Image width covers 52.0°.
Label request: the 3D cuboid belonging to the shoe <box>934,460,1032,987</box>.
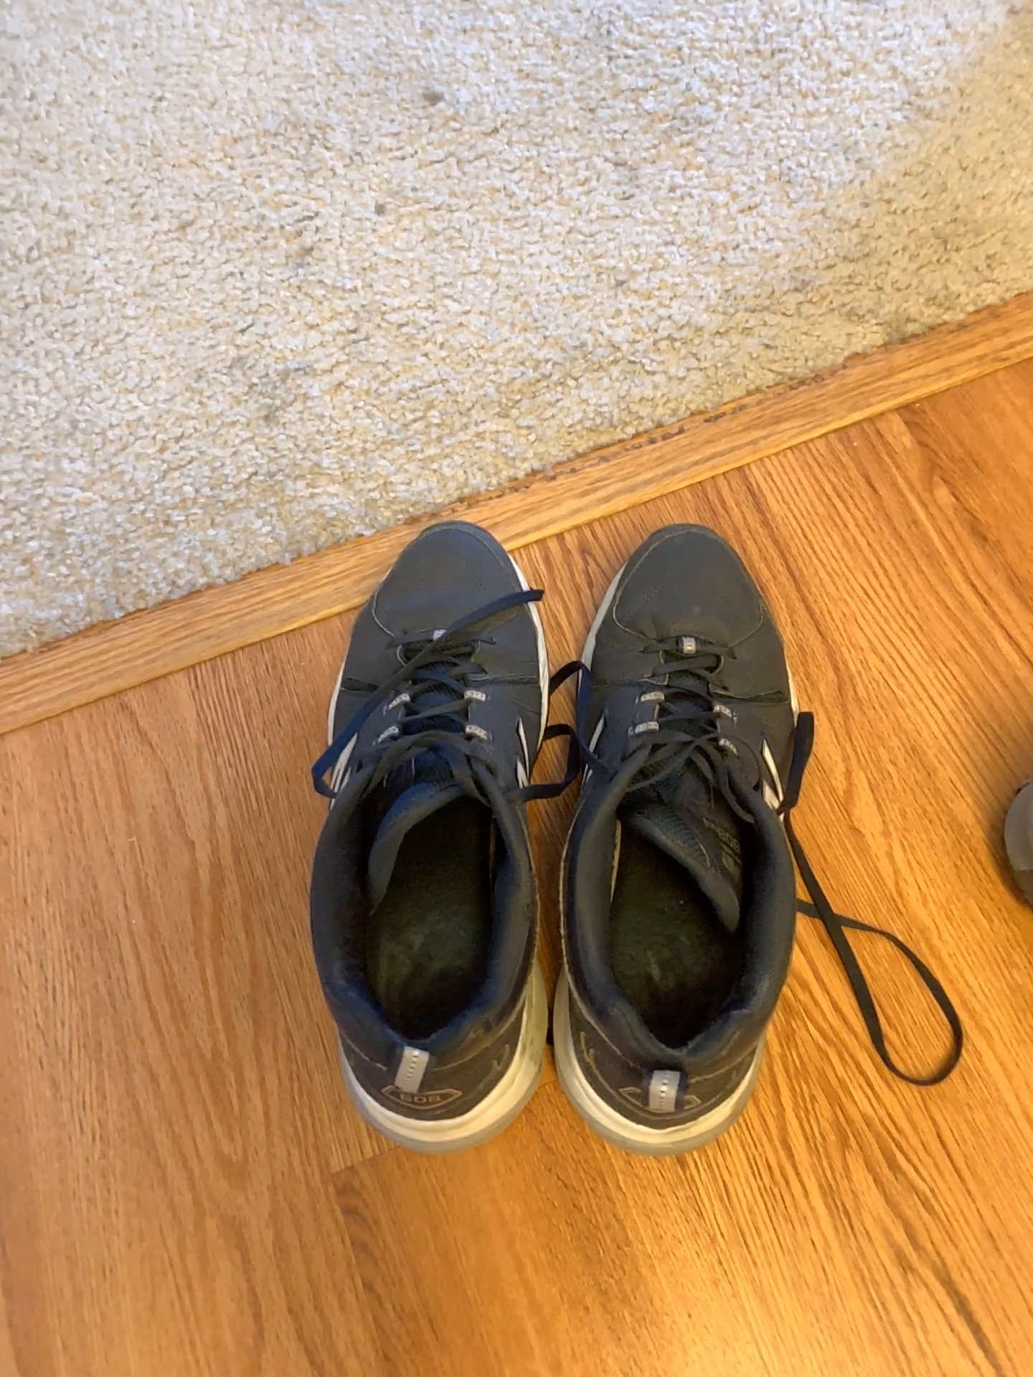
[{"bbox_3d":[0.379,0.027,0.471,0.300,0.170,0.120,-12,66,-3],"label":"shoe"}]

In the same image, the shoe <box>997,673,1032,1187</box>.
[{"bbox_3d":[0.417,0.112,0.449,0.320,0.180,0.140,-7,66,-1],"label":"shoe"}]

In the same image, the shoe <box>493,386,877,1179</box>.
[{"bbox_3d":[0.070,0.037,0.453,0.120,0.130,0.301,5,66,4],"label":"shoe"}]

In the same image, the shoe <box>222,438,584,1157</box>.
[{"bbox_3d":[-0.042,0.049,0.497,0.130,0.120,0.311,-2,66,1],"label":"shoe"}]
